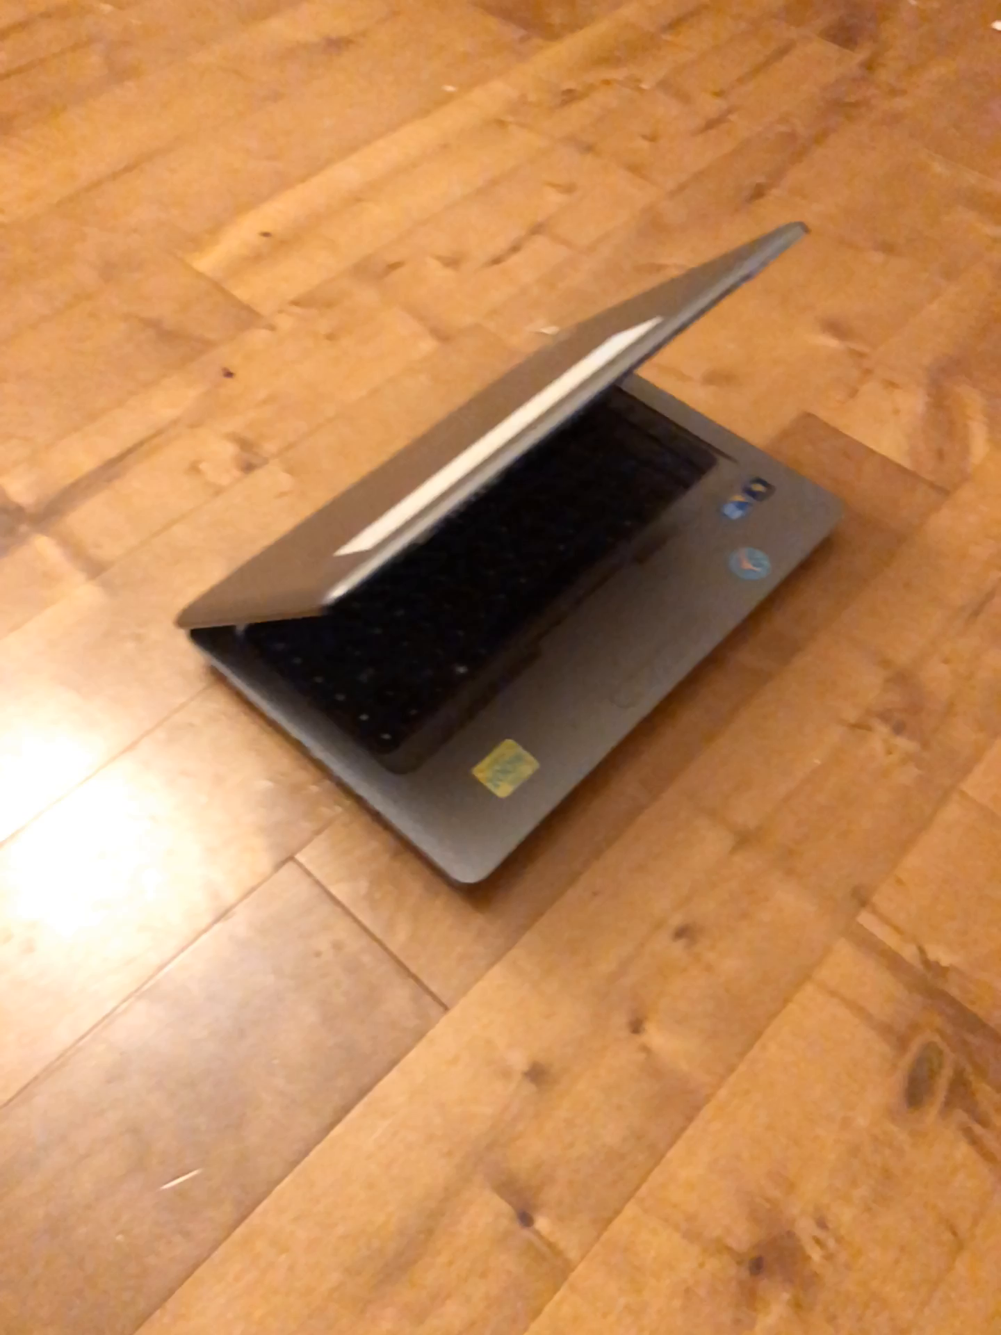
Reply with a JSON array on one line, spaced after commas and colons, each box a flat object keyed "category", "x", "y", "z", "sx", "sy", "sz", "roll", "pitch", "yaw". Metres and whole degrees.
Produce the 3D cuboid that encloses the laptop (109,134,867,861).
[{"category": "laptop", "x": 0.005, "y": -0.115, "z": 0.632, "sx": 0.223, "sy": 0.164, "sz": 0.347, "roll": 37, "pitch": 62, "yaw": 21}]
